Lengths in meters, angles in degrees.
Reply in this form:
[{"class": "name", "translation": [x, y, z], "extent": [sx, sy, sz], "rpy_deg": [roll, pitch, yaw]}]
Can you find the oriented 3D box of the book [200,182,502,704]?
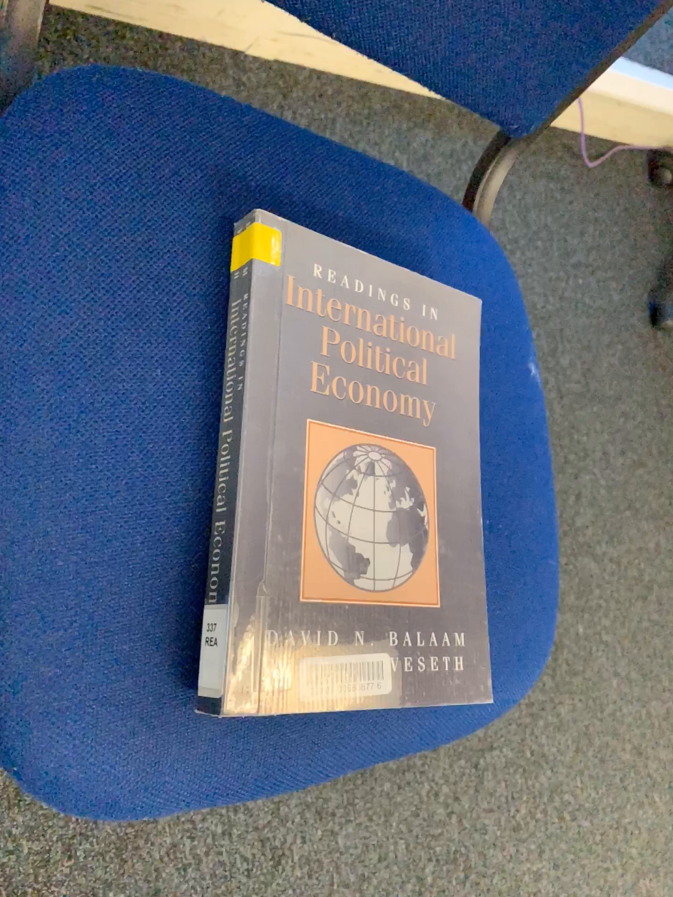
[{"class": "book", "translation": [0.016, 0.002, 0.339], "extent": [0.151, 0.030, 0.220], "rpy_deg": [12, 72, -36]}]
